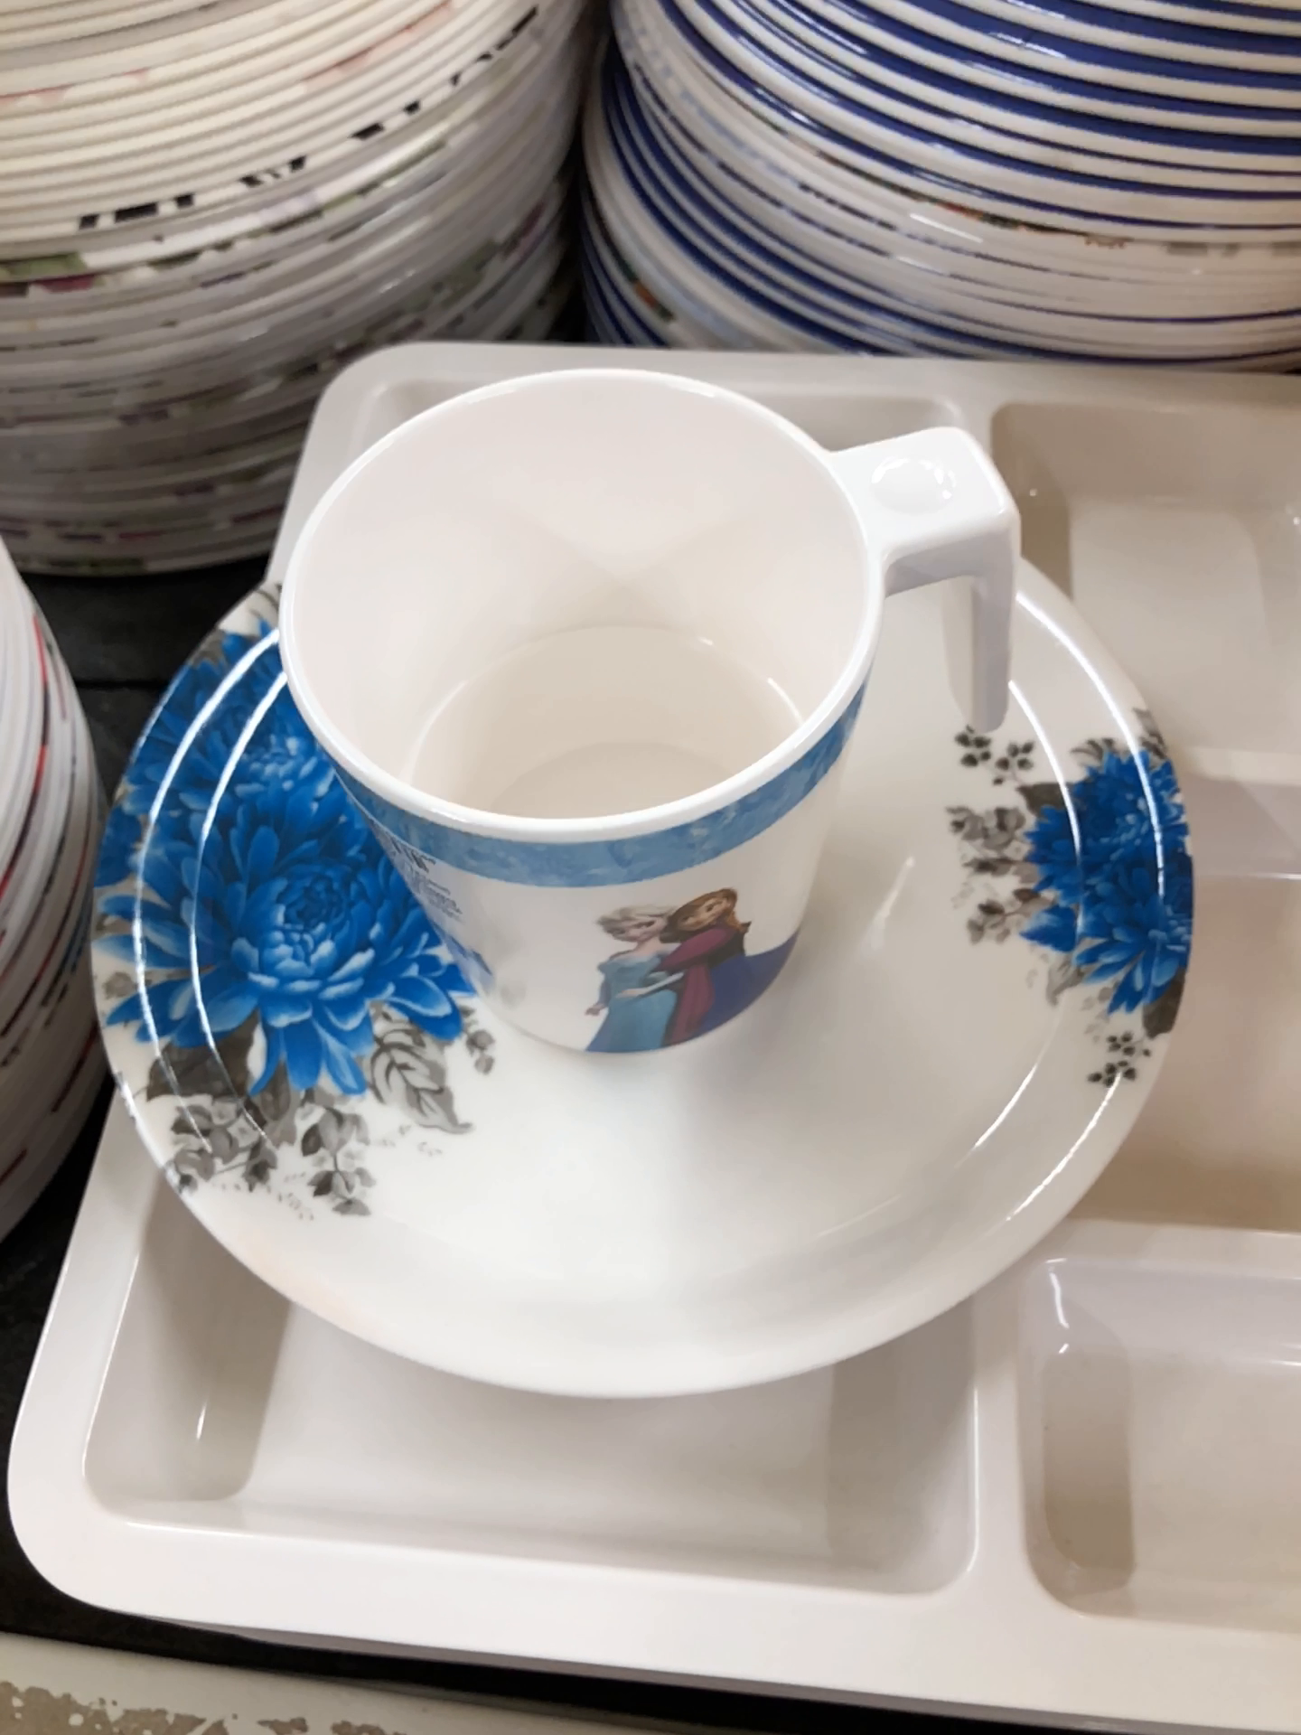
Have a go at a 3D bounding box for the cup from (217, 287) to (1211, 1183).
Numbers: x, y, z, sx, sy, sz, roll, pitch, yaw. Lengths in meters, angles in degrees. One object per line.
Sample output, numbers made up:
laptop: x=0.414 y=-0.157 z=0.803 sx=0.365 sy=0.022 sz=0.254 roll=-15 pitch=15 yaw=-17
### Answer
cup: x=0.005 y=-0.016 z=0.226 sx=0.110 sy=0.090 sz=0.080 roll=-13 pitch=61 yaw=-6
